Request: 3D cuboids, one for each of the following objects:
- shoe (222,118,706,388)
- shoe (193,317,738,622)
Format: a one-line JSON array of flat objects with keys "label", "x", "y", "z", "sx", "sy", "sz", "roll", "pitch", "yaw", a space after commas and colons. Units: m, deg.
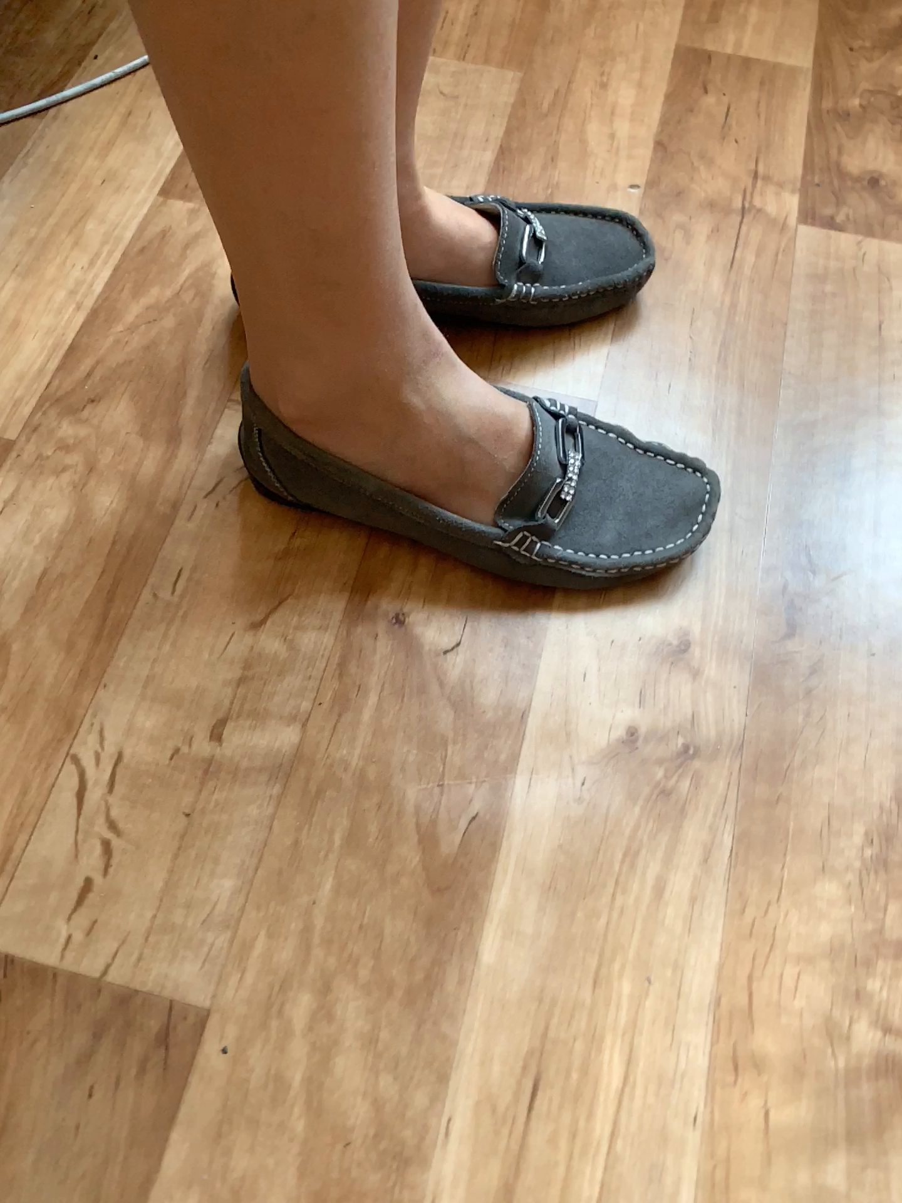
[{"label": "shoe", "x": 0.004, "y": -0.197, "z": 0.518, "sx": 0.240, "sy": 0.060, "sz": 0.100, "roll": -11, "pitch": 63, "yaw": -8}, {"label": "shoe", "x": 0.009, "y": -0.065, "z": 0.457, "sx": 0.240, "sy": 0.060, "sz": 0.090, "roll": 11, "pitch": 66, "yaw": 3}]
